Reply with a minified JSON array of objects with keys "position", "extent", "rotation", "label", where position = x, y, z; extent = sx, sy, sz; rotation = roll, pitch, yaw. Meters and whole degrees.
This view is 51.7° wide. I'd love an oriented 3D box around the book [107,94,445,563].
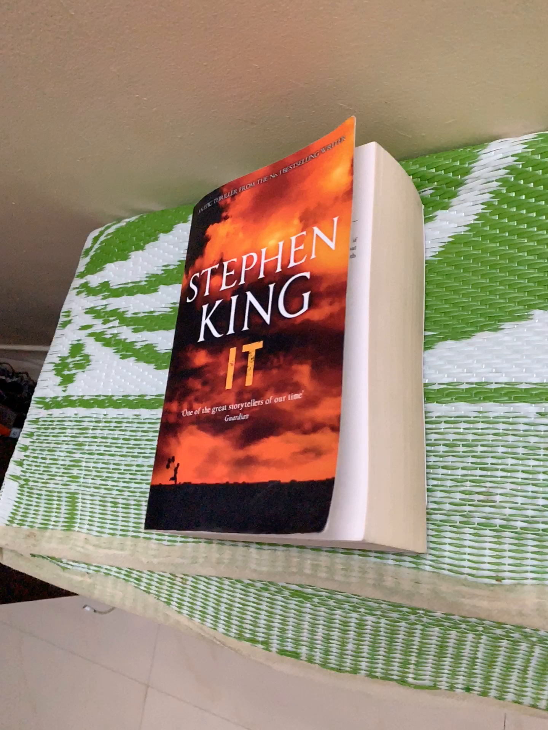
[{"position":[0.009,-0.015,0.301],"extent":[0.140,0.070,0.210],"rotation":[-7,64,33],"label":"book"}]
